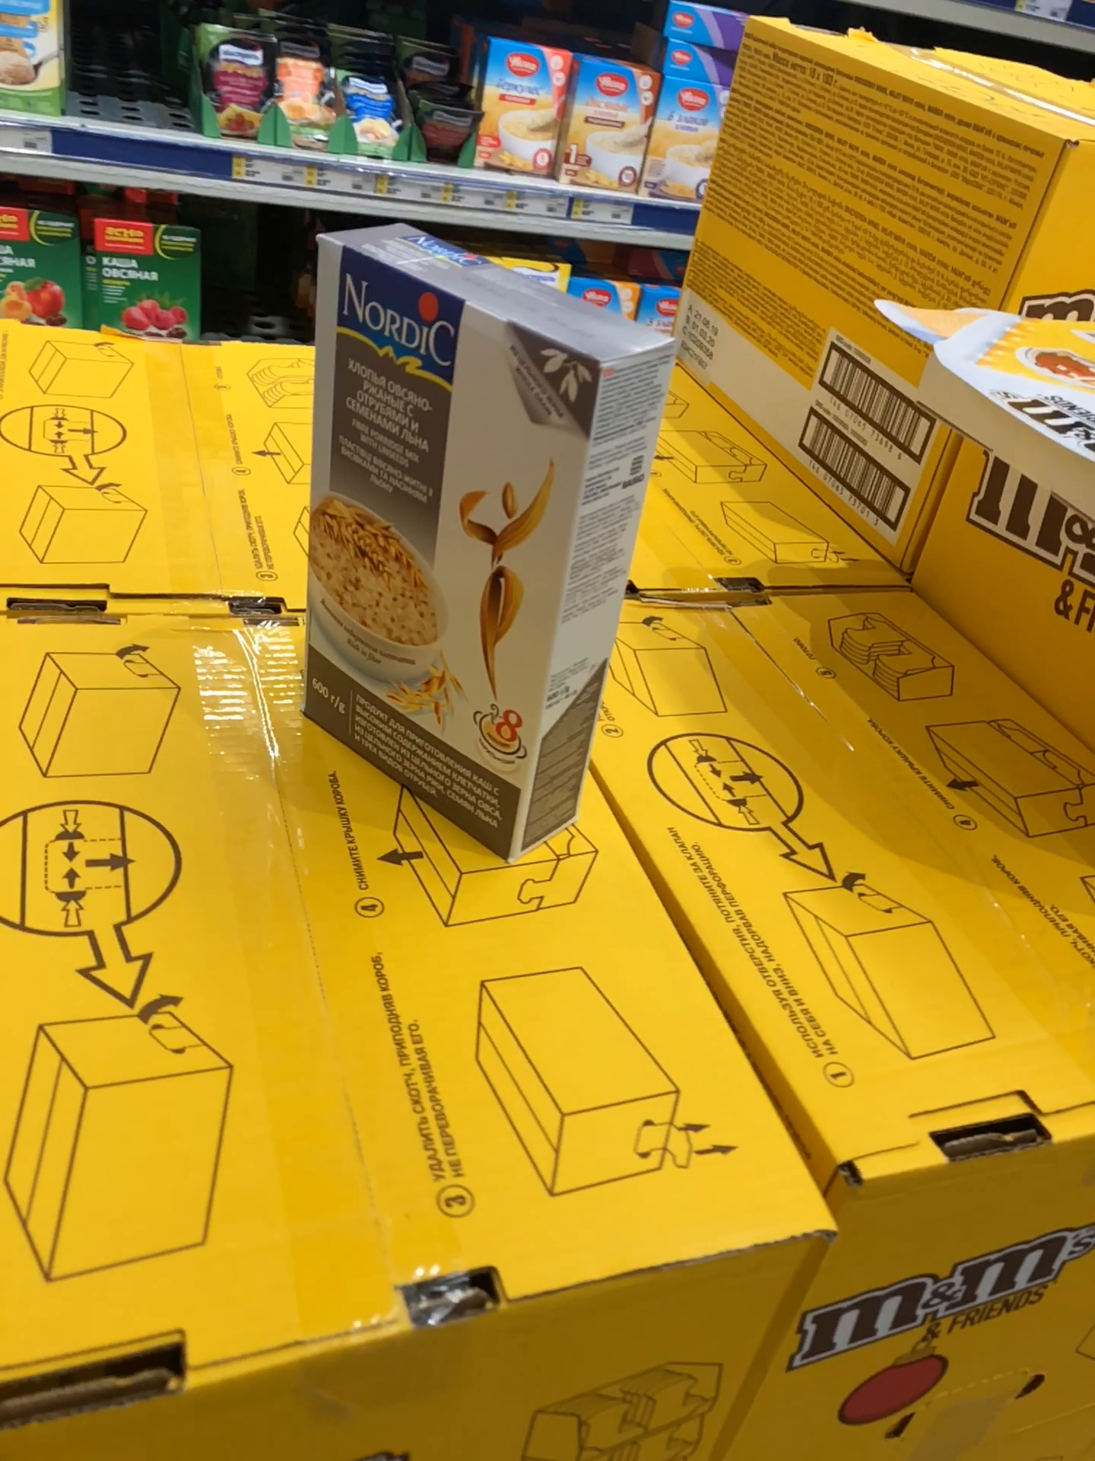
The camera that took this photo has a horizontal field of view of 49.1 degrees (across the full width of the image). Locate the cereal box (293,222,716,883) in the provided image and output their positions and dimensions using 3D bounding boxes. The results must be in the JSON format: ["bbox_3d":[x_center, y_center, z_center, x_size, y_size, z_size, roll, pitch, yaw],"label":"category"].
[{"bbox_3d":[-0.032,-0.070,0.490,0.150,0.218,0.050,34,41,28],"label":"cereal box"}]
